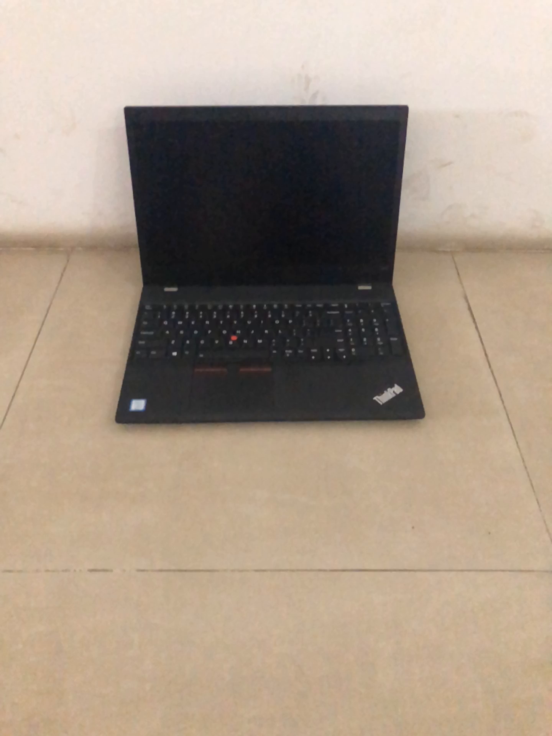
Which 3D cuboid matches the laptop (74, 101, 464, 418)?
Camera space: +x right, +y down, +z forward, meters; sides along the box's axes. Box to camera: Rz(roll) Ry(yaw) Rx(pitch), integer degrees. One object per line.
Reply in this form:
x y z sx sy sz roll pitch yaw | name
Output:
-0.010 -0.141 0.735 0.351 0.214 0.329 -1 47 -1 | laptop
